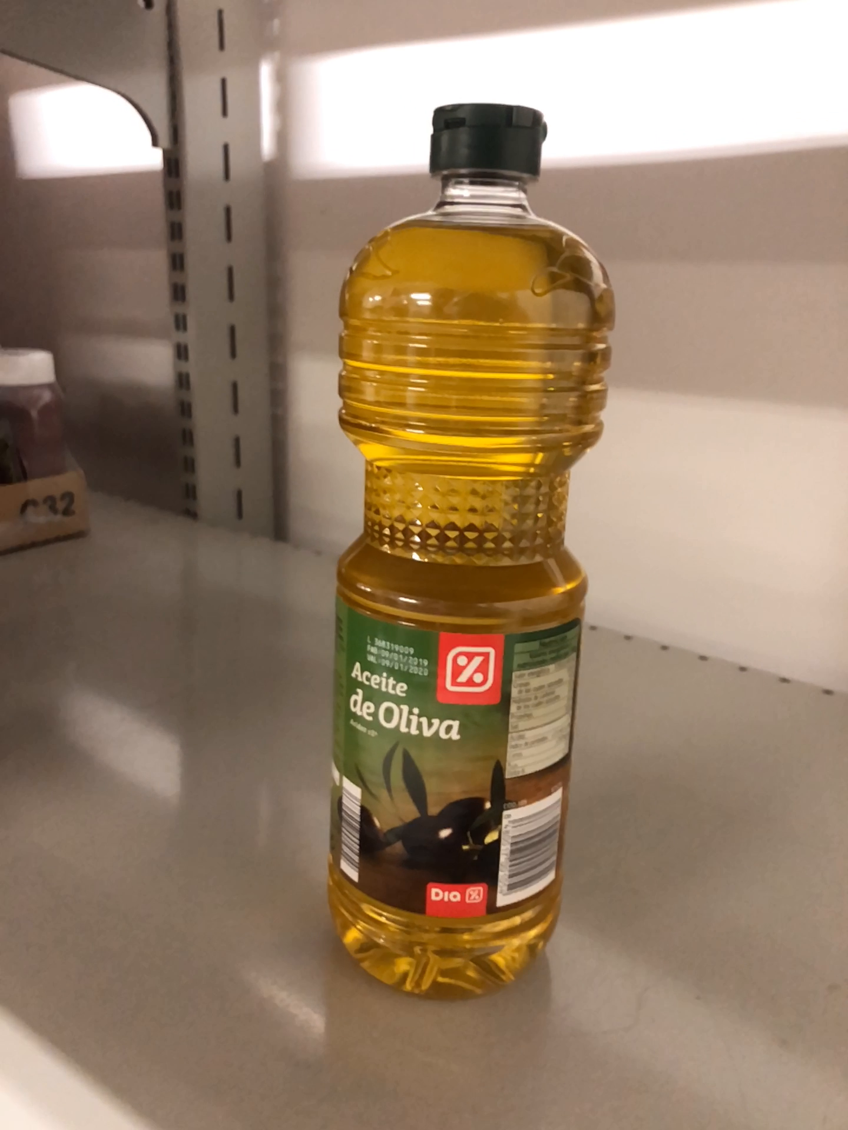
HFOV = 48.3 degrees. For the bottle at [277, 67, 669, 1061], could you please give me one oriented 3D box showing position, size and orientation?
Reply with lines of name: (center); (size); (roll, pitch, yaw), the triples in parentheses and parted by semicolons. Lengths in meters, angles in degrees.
bottle: (0.010, 0.005, 0.264); (0.080, 0.249, 0.060); (8, 19, 17)
